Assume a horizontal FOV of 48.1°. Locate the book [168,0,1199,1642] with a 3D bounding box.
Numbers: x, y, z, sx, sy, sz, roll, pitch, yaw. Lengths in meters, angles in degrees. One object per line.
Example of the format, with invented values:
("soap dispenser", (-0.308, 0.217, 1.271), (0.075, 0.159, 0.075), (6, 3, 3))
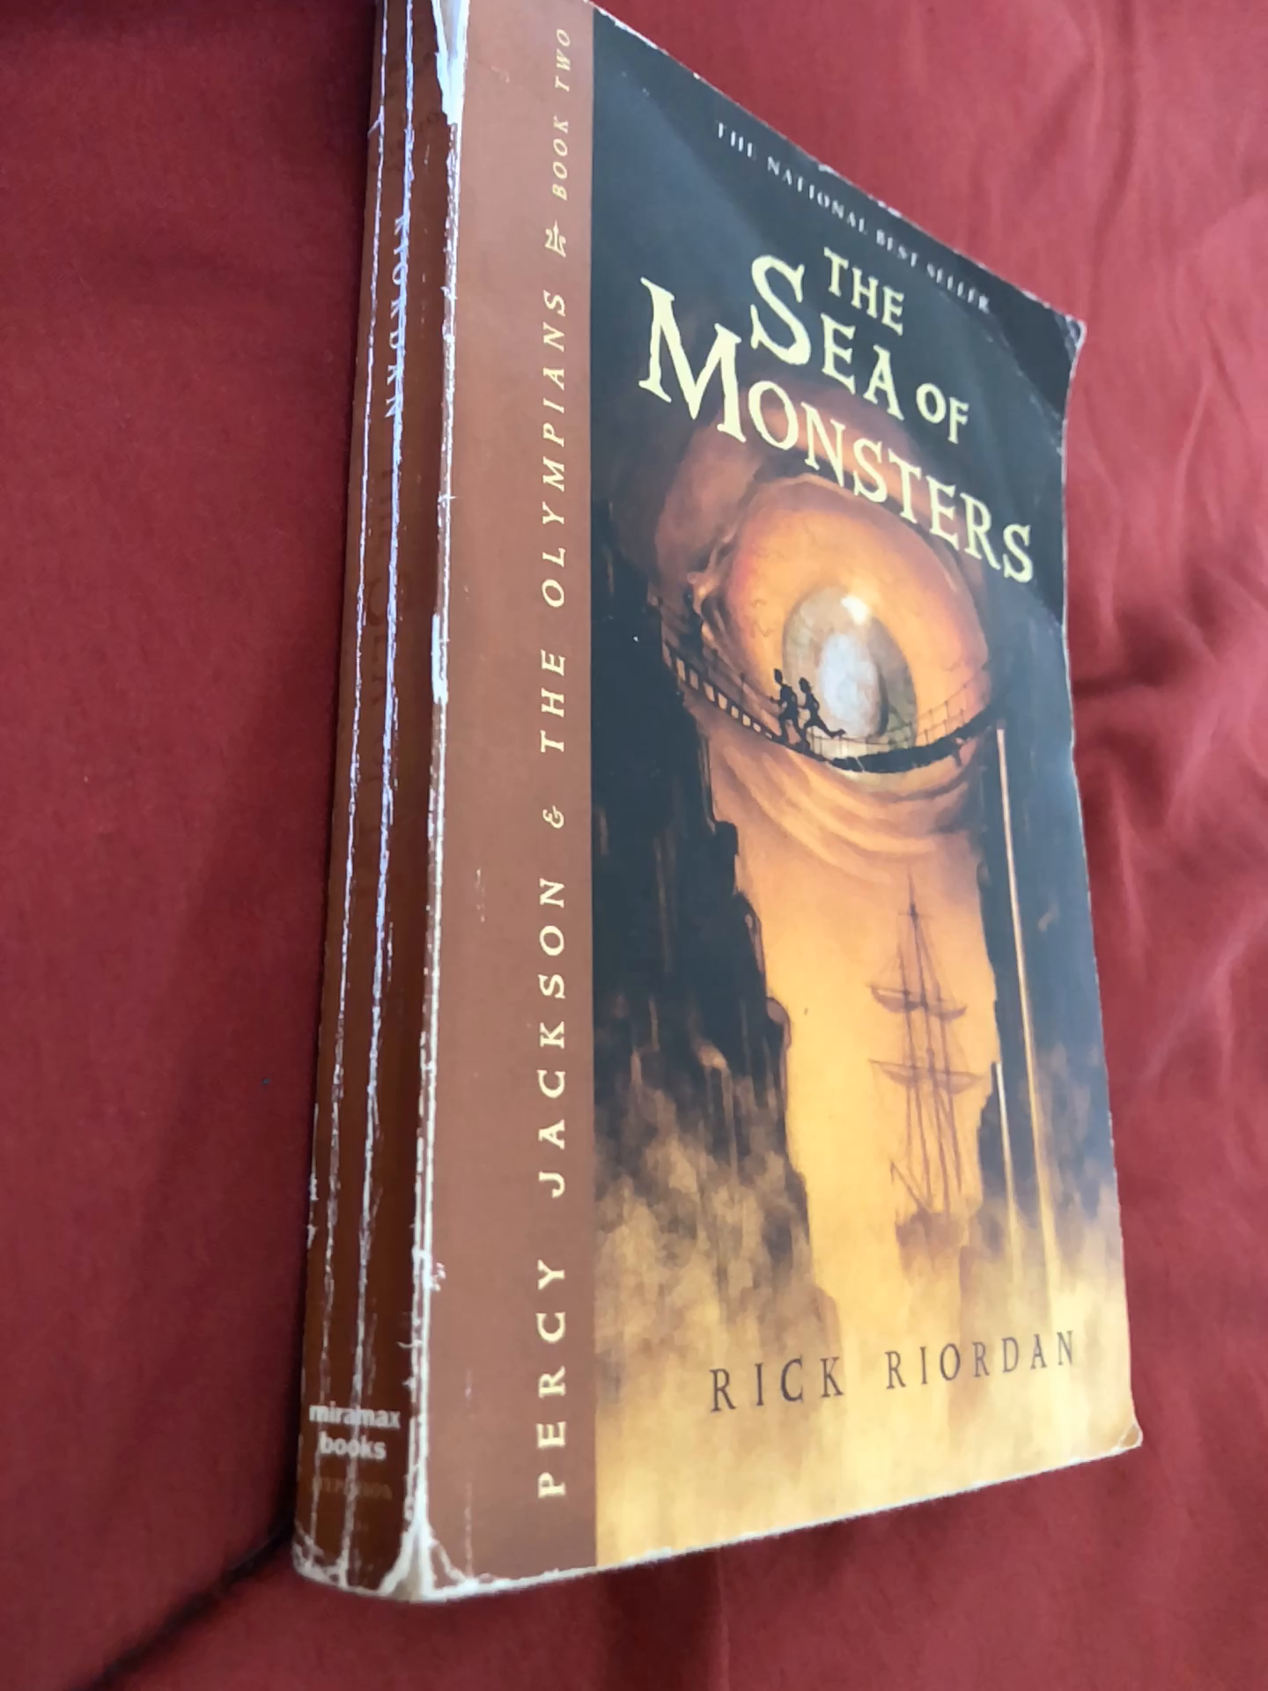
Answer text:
("book", (0.021, -0.014, 0.199), (0.145, 0.030, 0.197), (13, 71, -39))
